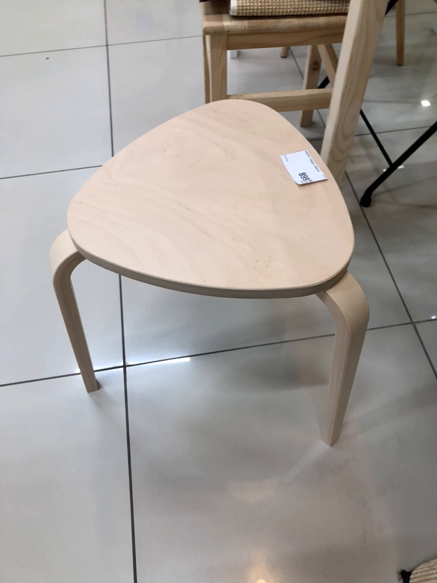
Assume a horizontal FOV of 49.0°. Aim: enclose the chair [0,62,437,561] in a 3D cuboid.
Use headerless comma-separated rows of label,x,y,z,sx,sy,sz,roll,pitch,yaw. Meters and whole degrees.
chair,0.048,0.036,0.772,0.431,0.468,0.491,38,65,24
